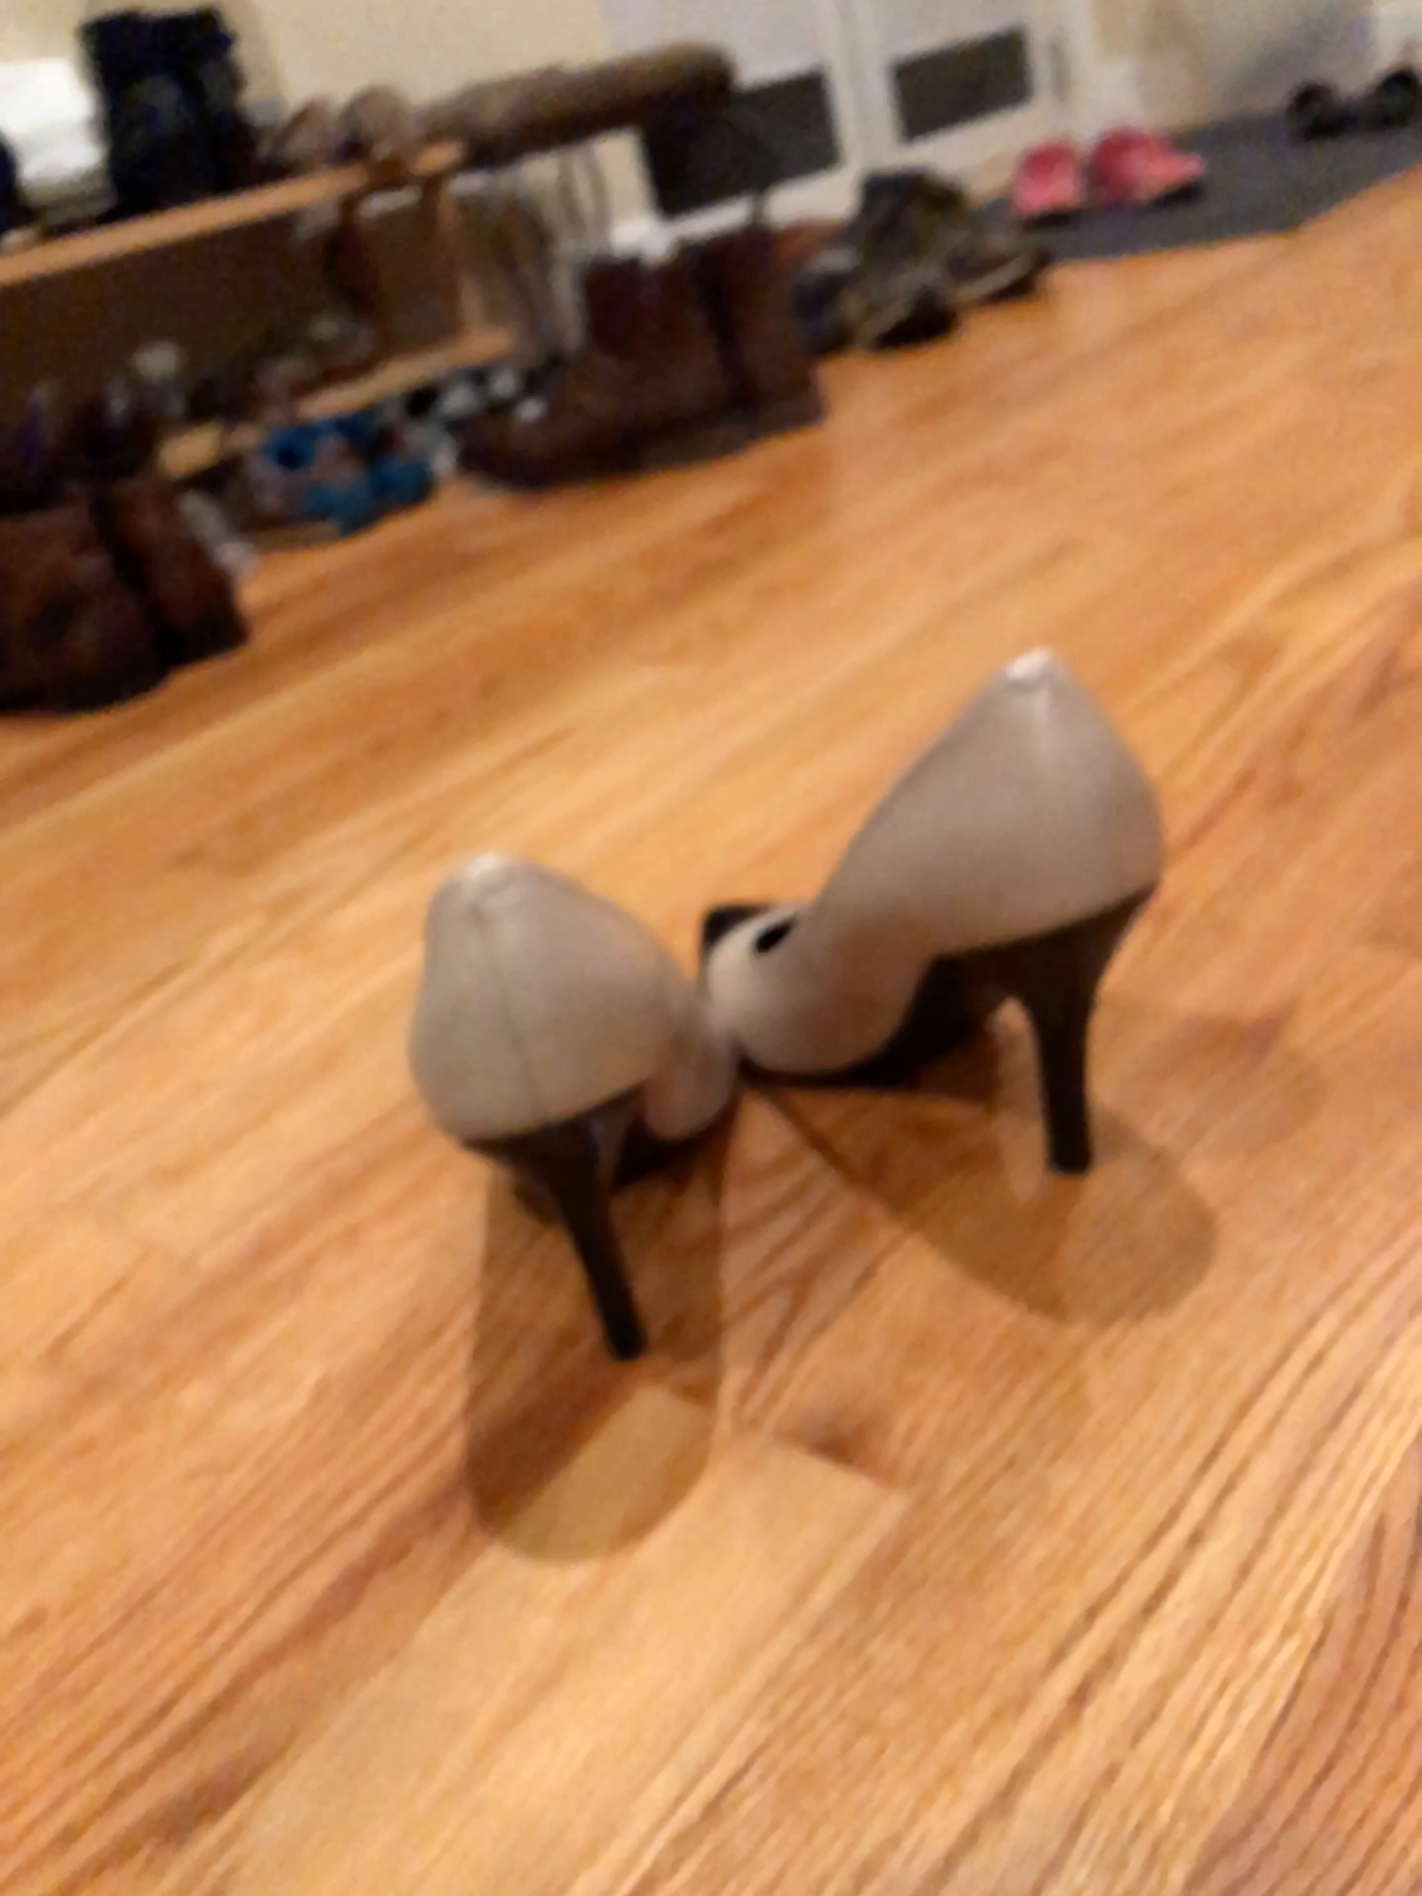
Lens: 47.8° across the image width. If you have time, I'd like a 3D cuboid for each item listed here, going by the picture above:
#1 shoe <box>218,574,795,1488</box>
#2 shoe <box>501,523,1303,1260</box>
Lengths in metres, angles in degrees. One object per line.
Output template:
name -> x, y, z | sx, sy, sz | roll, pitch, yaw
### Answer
shoe -> -0.044, 0.002, 0.443 | 0.085, 0.138, 0.236 | -13, 26, 3
shoe -> 0.044, -0.035, 0.470 | 0.085, 0.138, 0.236 | -26, 29, -23
